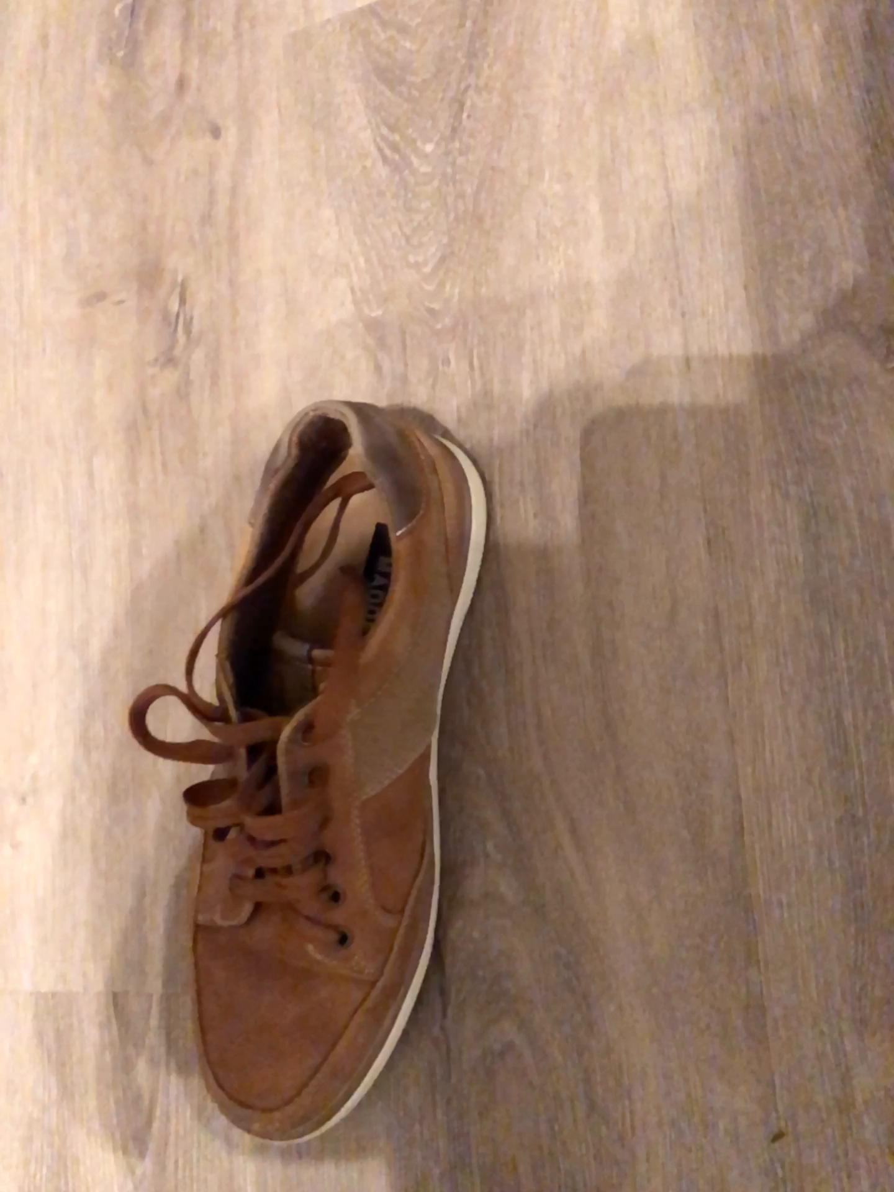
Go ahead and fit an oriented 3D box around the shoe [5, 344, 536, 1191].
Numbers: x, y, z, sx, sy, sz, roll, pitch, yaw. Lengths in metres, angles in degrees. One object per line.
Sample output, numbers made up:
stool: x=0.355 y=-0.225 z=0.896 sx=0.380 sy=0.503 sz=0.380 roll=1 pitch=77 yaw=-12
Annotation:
shoe: x=-0.057 y=0.060 z=0.376 sx=0.110 sy=0.100 sz=0.280 roll=9 pitch=85 yaw=22
